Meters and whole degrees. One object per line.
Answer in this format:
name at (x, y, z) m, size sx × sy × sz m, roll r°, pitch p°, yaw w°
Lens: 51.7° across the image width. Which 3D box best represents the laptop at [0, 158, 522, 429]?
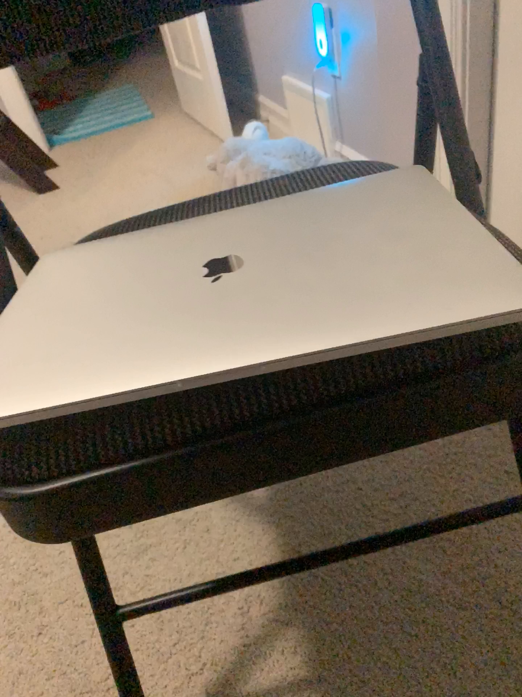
laptop at (-0.025, -0.057, 0.374) m, size 0.332 × 0.001 × 0.225 m, roll -12°, pitch 37°, yaw 5°
